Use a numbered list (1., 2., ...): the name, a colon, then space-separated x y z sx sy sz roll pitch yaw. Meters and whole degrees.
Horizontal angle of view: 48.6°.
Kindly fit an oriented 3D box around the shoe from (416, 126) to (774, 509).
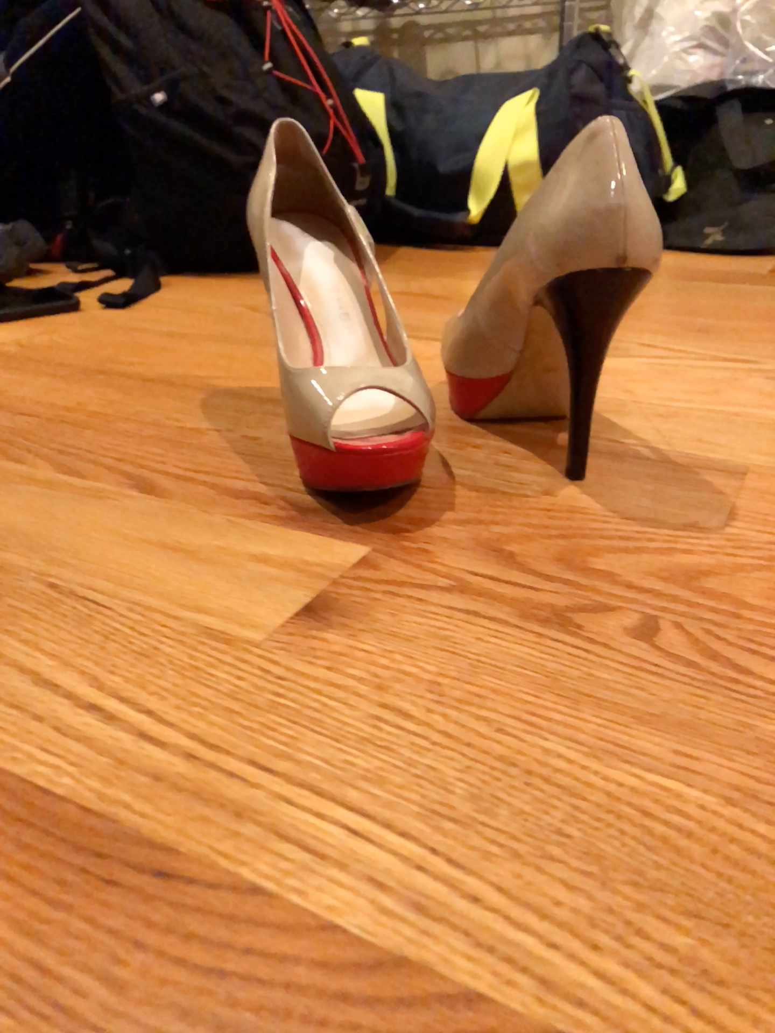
1. shoe: 0.086 -0.121 0.449 0.080 0.149 0.221 -8 26 -13

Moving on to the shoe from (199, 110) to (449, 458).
1. shoe: -0.041 -0.133 0.435 0.085 0.129 0.216 -7 25 -11
